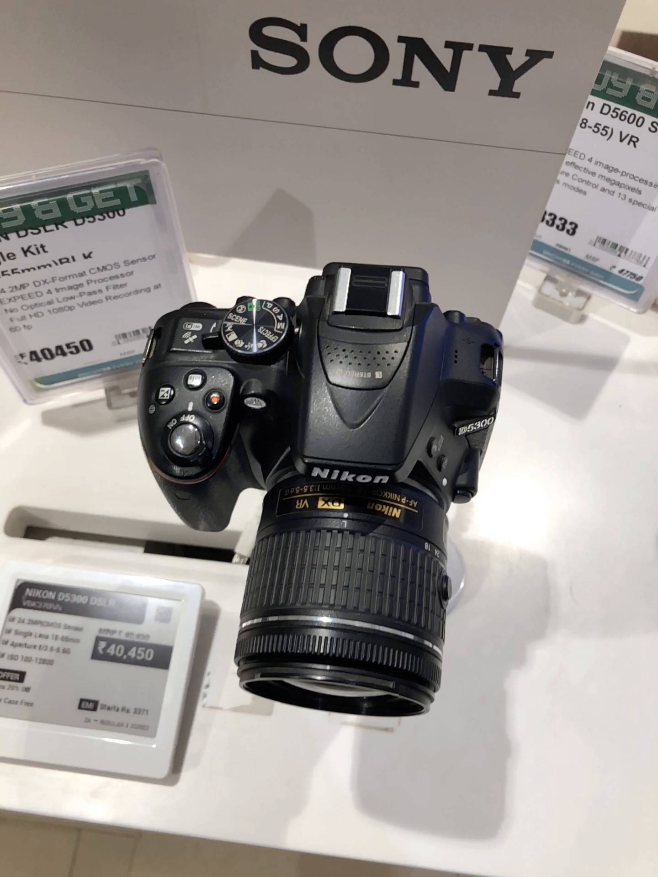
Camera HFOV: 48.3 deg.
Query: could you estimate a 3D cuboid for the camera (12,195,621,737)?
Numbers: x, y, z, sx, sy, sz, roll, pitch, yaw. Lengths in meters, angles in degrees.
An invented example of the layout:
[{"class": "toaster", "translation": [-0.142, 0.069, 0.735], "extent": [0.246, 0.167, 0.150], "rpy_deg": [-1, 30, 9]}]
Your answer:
[{"class": "camera", "translation": [0.001, 0.011, 0.247], "extent": [0.140, 0.100, 0.141], "rpy_deg": [5, 59, 1]}]
